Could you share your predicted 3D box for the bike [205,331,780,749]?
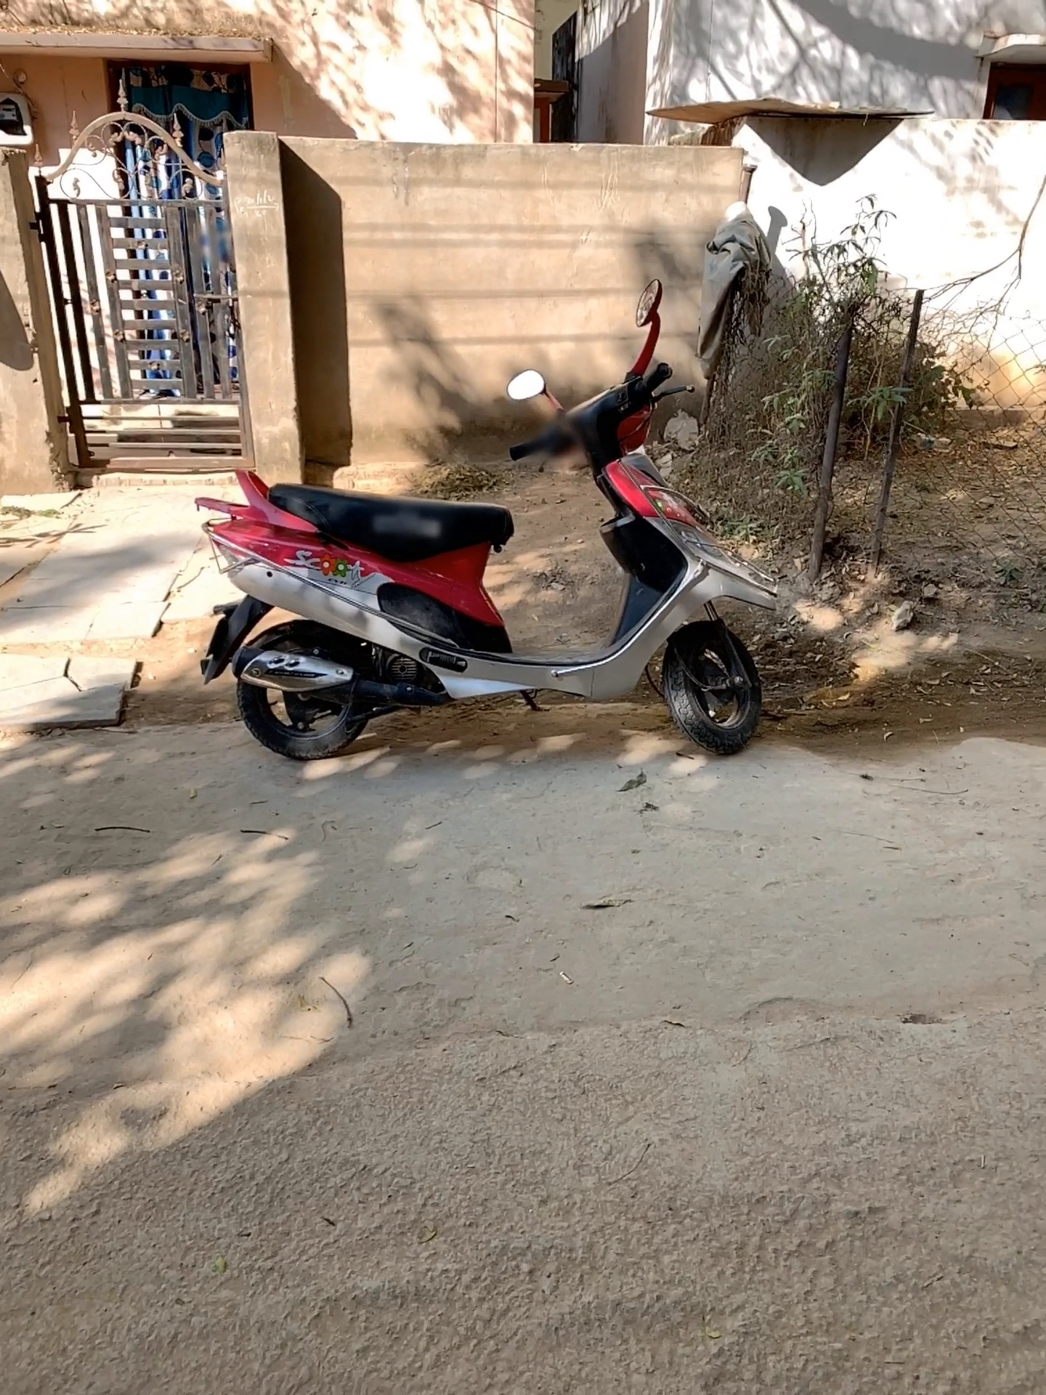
[{"bbox_3d":[-0.065,-0.491,3.184,1.494,1.037,0.486,-4,25,-7],"label":"bike"}]
